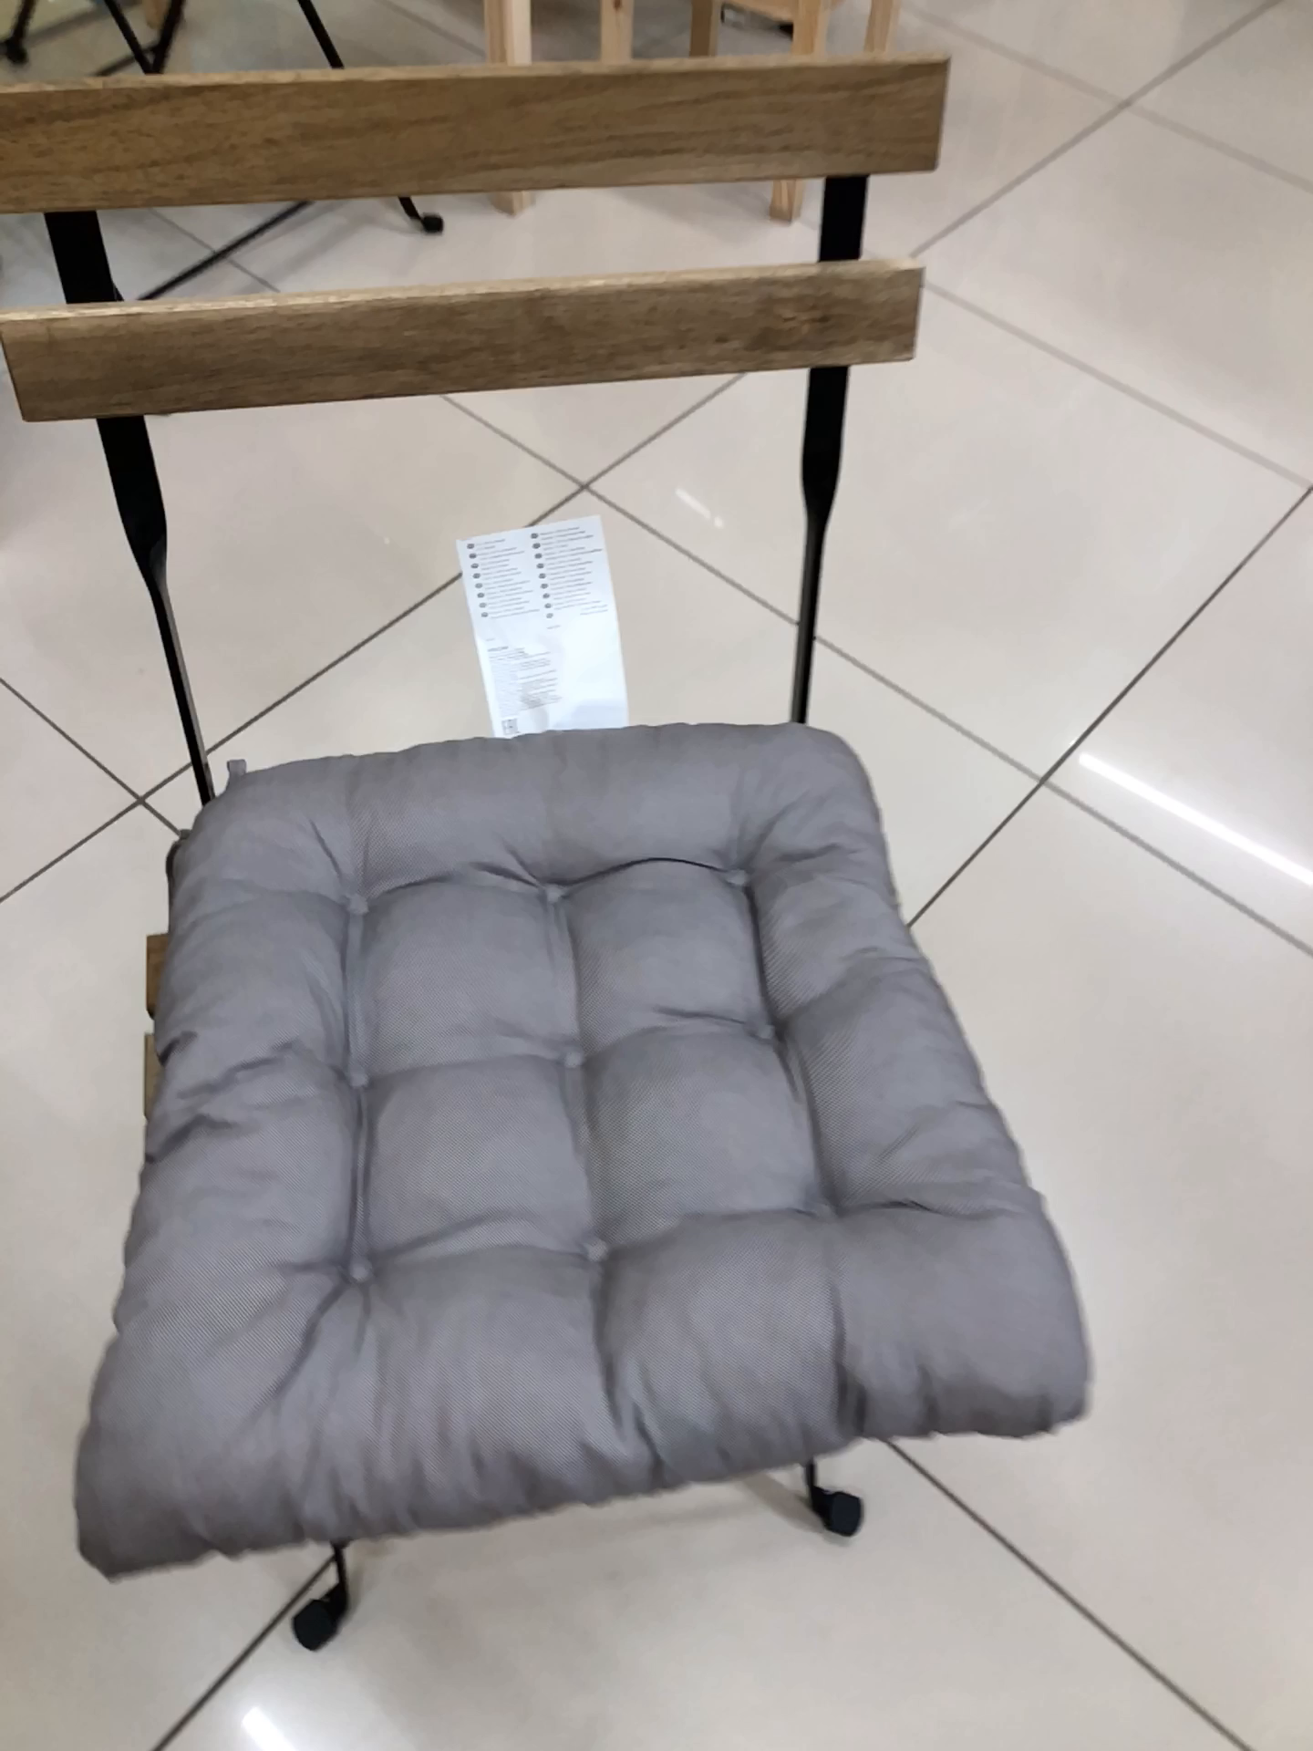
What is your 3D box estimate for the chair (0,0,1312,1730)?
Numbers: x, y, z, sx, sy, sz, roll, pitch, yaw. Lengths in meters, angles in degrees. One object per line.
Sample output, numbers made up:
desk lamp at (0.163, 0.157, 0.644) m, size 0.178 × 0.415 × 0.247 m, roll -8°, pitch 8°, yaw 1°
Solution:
chair at (-0.059, 0.084, 0.704) m, size 0.440 × 0.765 × 0.443 m, roll -8°, pitch 56°, yaw -10°
